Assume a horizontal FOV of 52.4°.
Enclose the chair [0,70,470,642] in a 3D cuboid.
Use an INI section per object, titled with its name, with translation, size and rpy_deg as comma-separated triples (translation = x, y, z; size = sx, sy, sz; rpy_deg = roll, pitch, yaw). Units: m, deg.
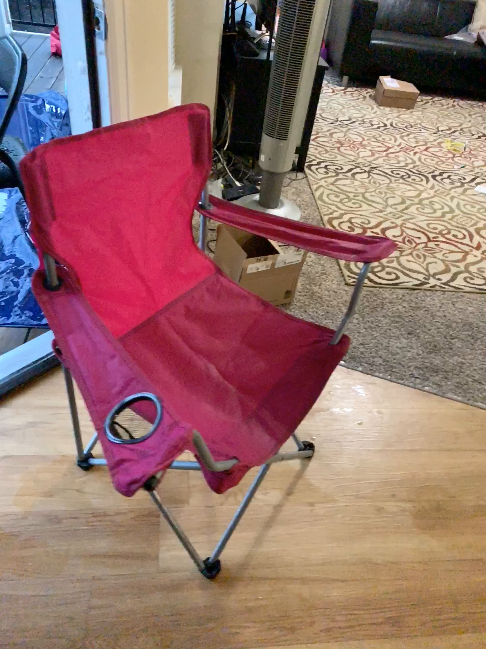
[chair]
translation = -0.110, 0.010, 1.051
size = 0.671, 0.776, 0.652
rpy_deg = 32, 46, 25
